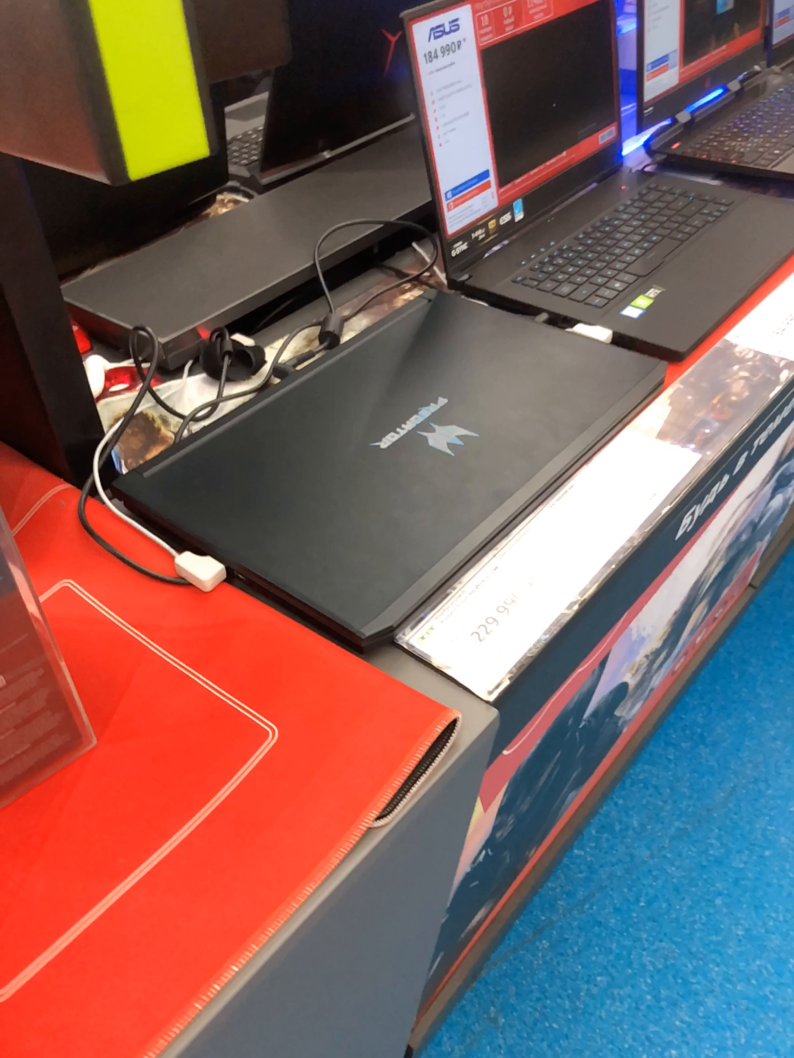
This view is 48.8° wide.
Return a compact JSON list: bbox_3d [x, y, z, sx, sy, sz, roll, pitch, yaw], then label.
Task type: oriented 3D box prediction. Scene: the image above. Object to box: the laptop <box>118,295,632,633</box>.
[{"bbox_3d":[-0.004,-0.080,0.674,0.221,0.006,0.355,27,50,30],"label":"laptop"}]
